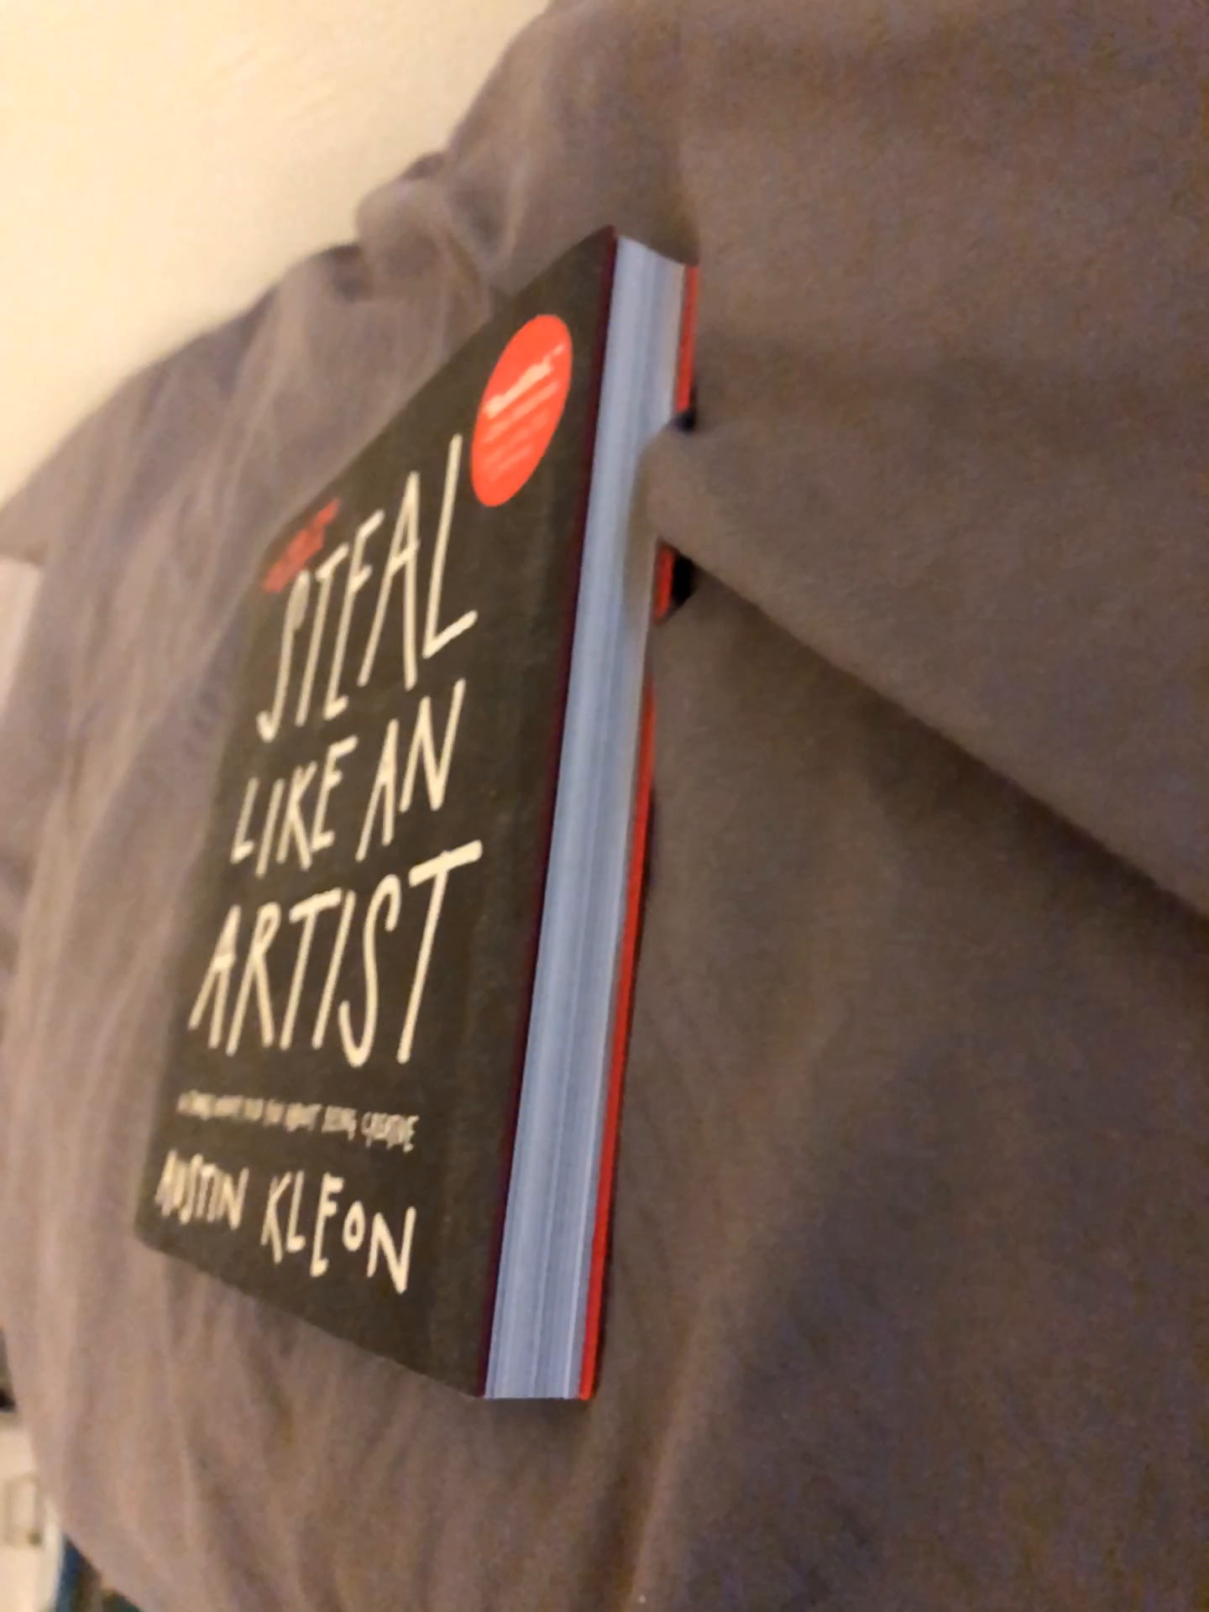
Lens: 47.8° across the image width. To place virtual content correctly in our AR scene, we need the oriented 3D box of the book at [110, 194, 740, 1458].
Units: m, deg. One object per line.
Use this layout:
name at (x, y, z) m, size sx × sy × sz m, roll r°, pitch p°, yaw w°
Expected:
book at (-0.041, 0.007, 0.239) m, size 0.161 × 0.020 × 0.160 m, roll -14°, pitch 65°, yaw 55°
